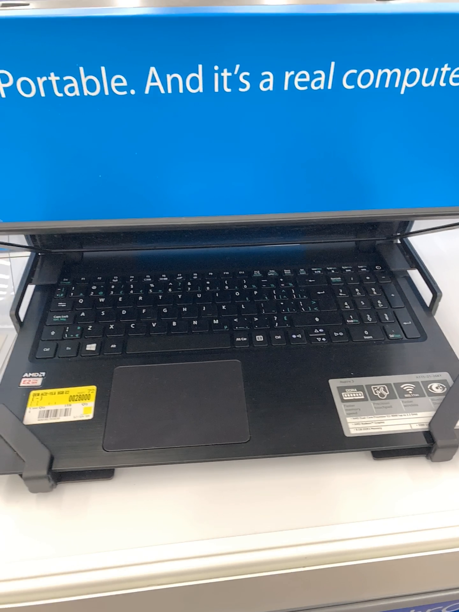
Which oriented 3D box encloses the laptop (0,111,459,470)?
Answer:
[{"bbox_3d":[0.003,-0.029,0.363,0.364,0.137,0.222,-2,45,-4],"label":"laptop"}]
